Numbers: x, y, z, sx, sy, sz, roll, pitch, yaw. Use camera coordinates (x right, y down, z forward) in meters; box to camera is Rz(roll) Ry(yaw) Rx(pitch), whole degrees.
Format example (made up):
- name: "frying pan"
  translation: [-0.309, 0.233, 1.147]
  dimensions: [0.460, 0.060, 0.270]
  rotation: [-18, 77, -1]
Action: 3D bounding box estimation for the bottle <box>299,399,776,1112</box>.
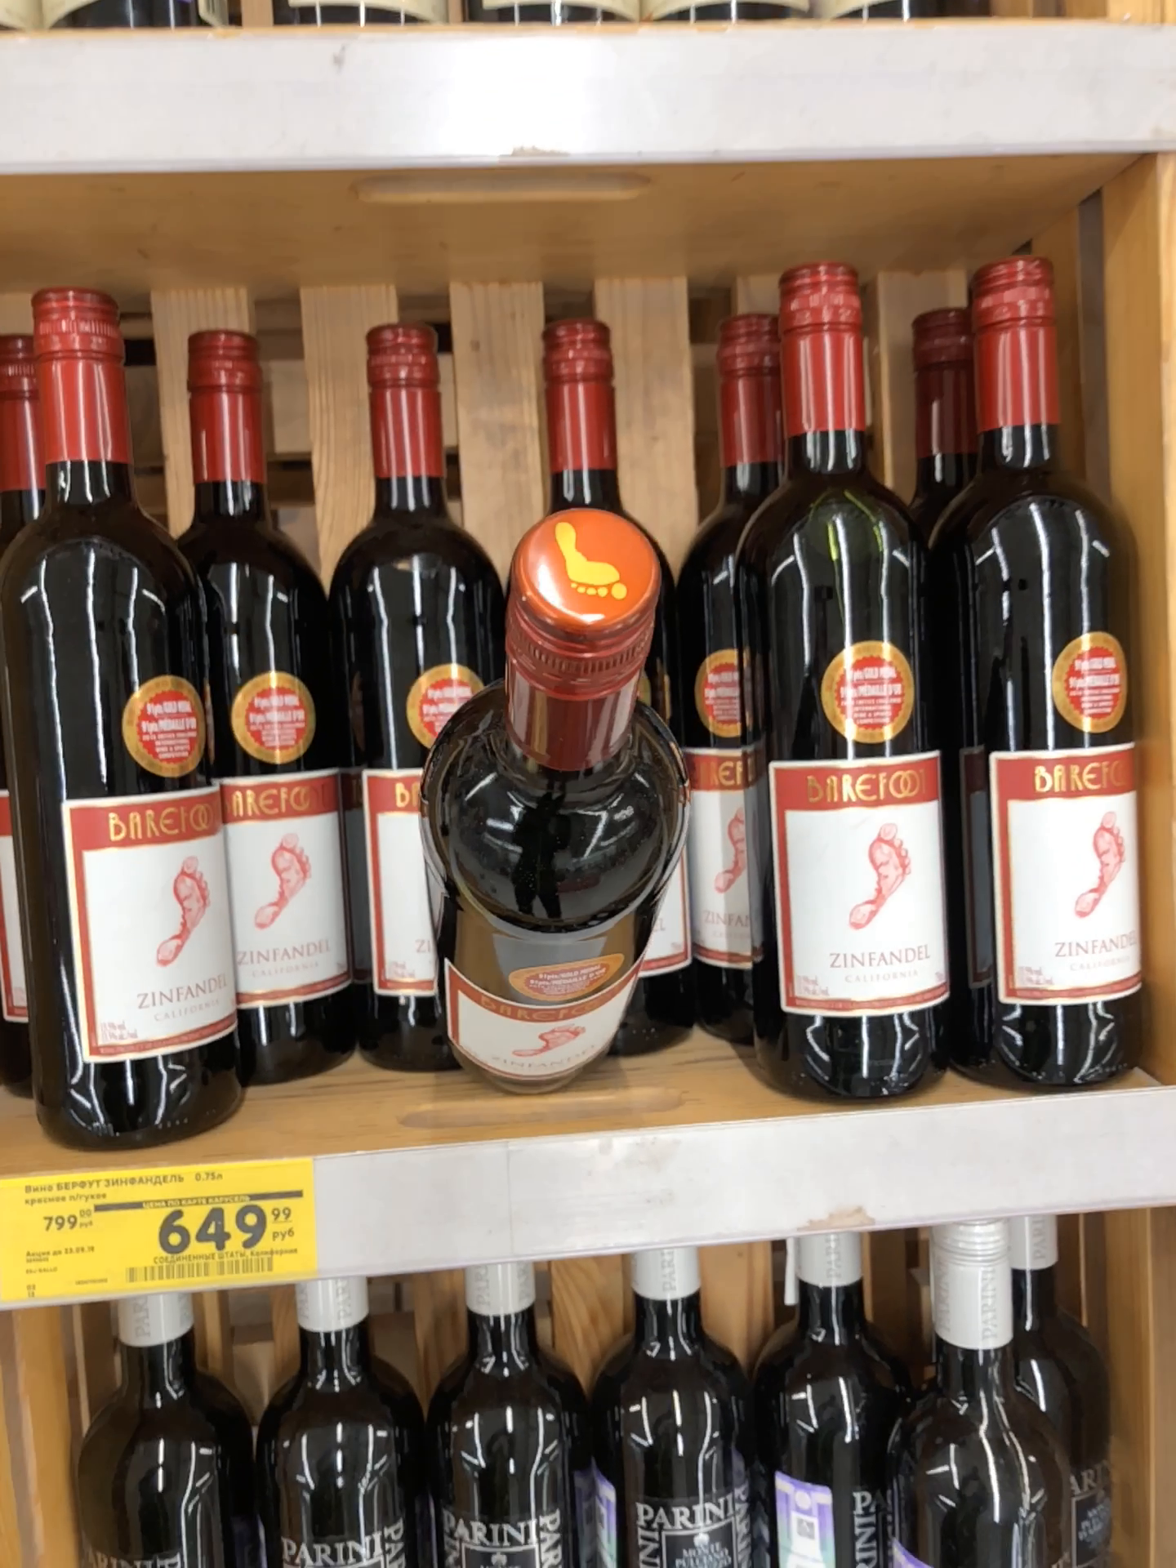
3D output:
- name: "bottle"
  translation: [-0.018, 0.023, 0.371]
  dimensions: [0.080, 0.289, 0.080]
  rotation: [1, 66, -2]
